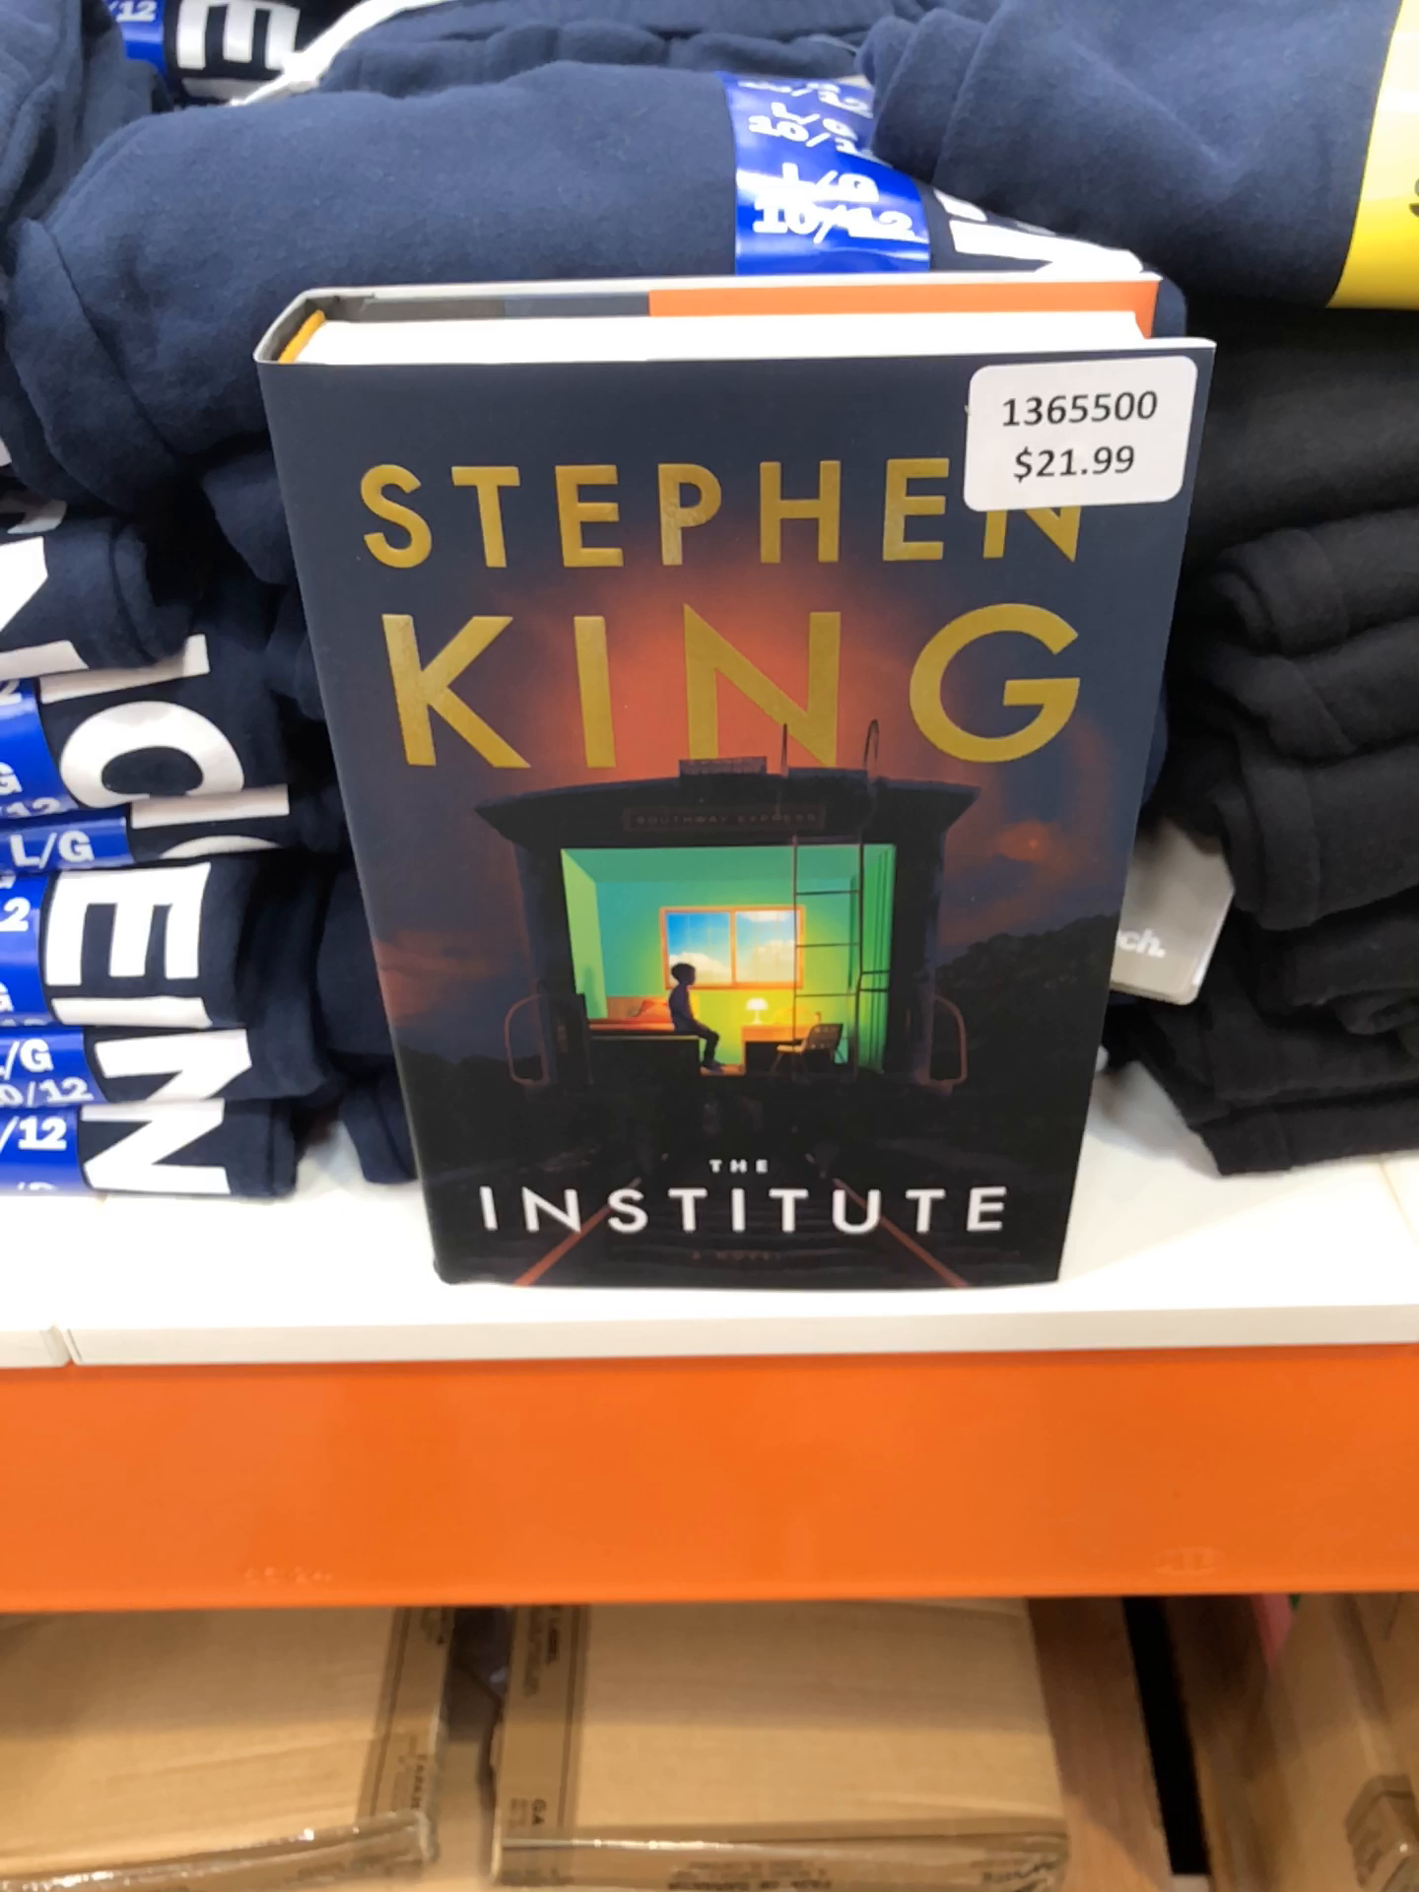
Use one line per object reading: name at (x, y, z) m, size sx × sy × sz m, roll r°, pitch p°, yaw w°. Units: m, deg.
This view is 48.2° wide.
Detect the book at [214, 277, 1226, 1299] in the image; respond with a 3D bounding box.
book at (0.004, -0.018, 0.349) m, size 0.167 × 0.229 × 0.050 m, roll 0°, pitch 37°, yaw 2°
